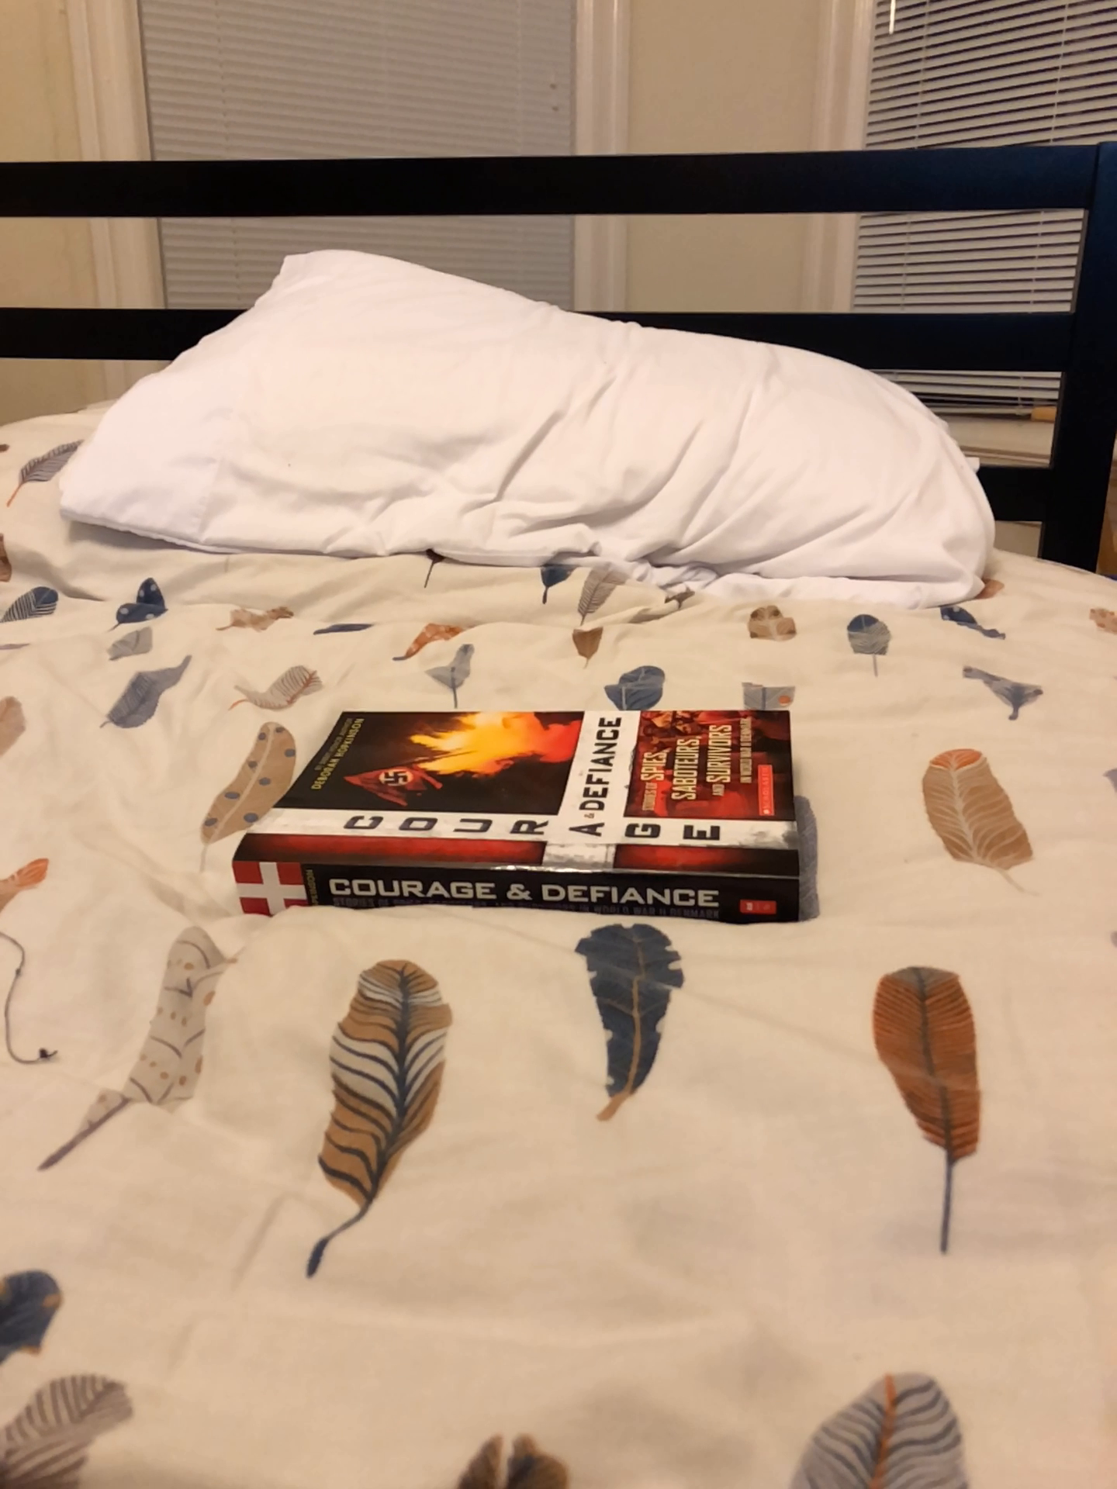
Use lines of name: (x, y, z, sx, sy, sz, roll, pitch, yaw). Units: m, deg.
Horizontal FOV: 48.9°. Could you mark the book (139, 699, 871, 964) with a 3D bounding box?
book: (-0.011, 0.023, 0.481, 0.230, 0.020, 0.201, 2, 18, 5)
